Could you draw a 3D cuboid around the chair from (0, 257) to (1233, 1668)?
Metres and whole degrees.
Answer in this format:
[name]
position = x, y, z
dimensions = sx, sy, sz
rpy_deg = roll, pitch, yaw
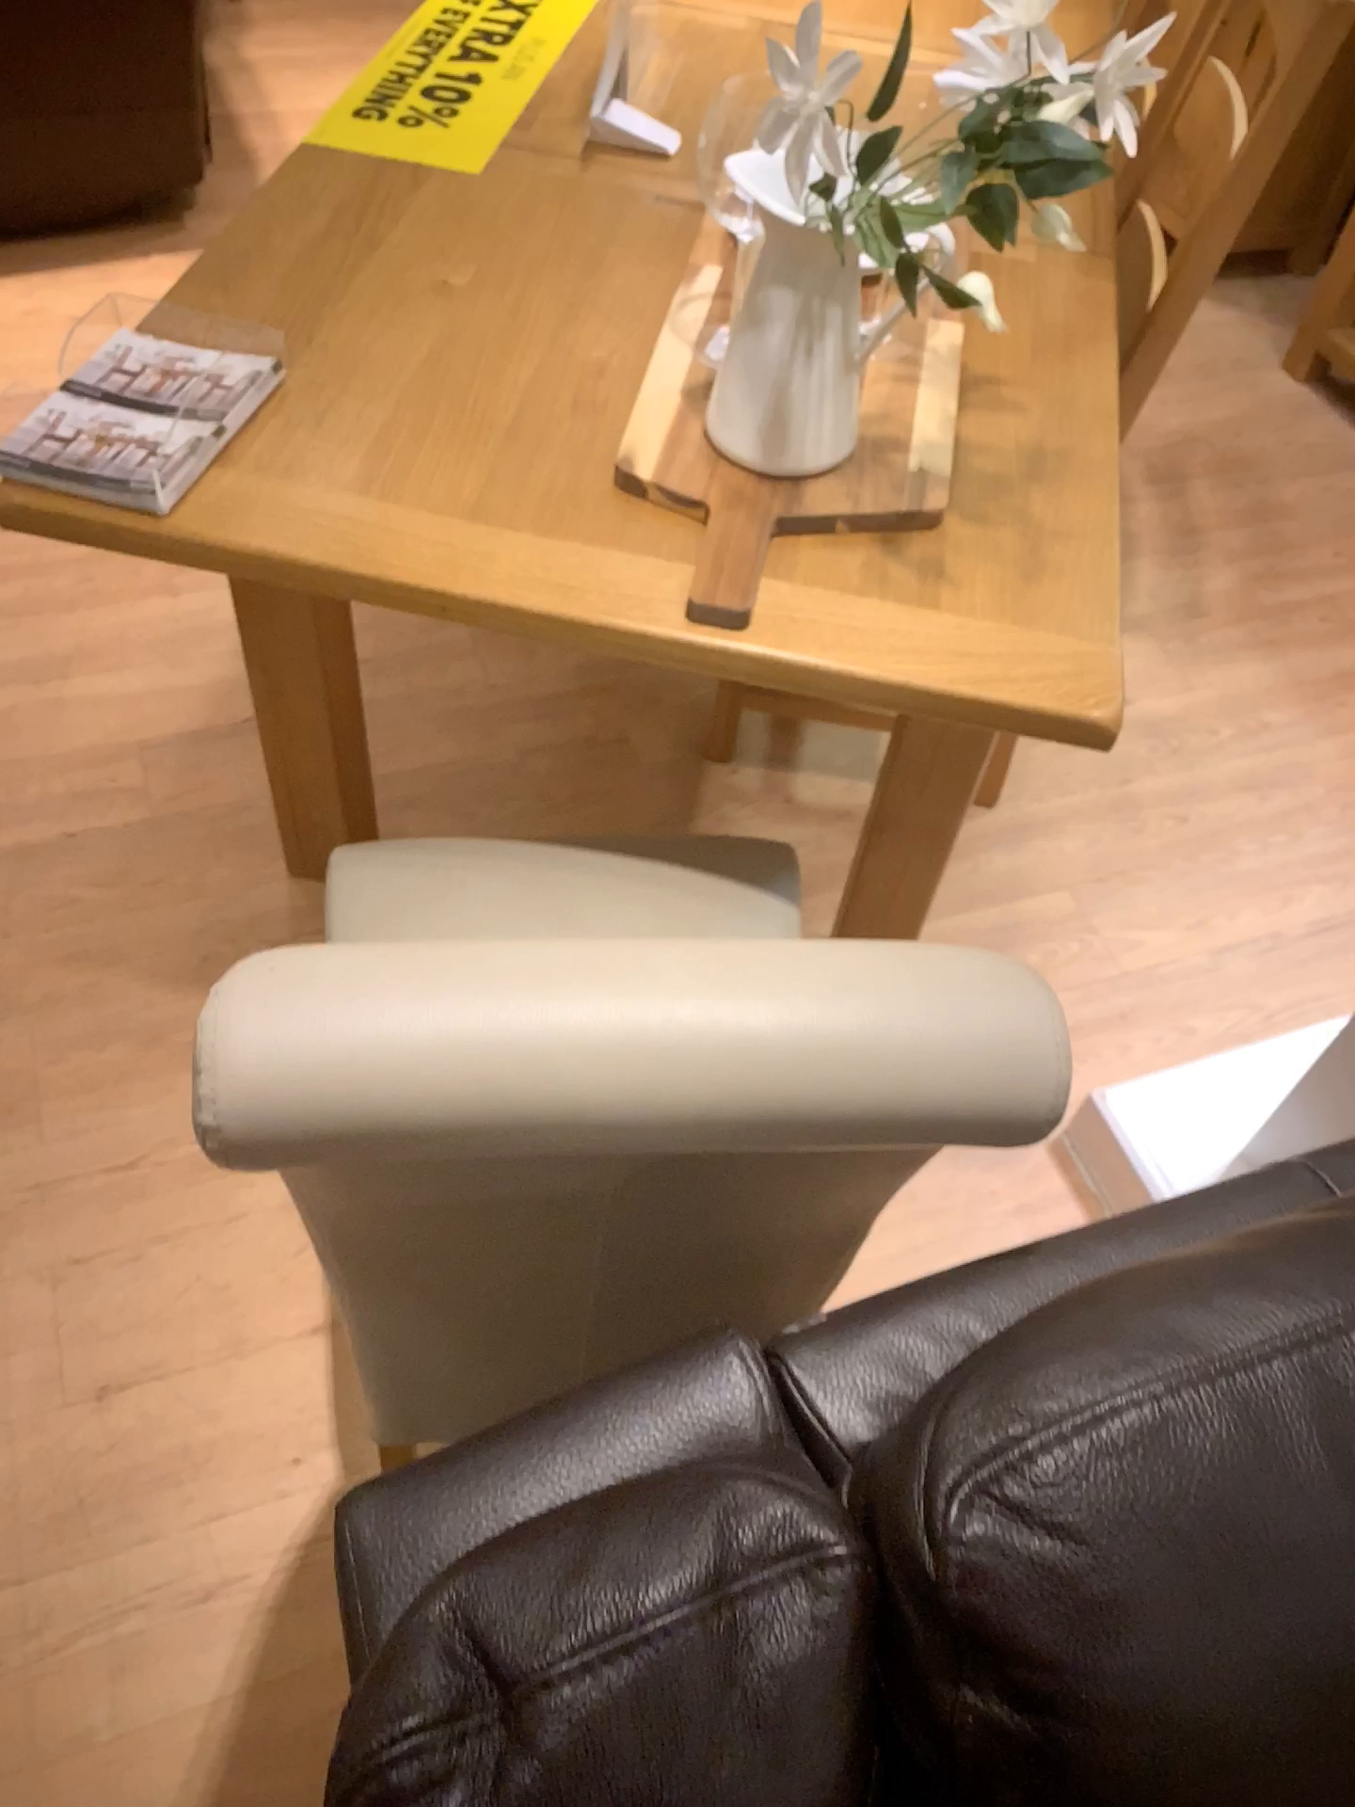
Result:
[chair]
position = -0.081, 0.128, 1.088
dimensions = 0.475, 0.944, 0.639
rpy_deg = 0, 51, -6
